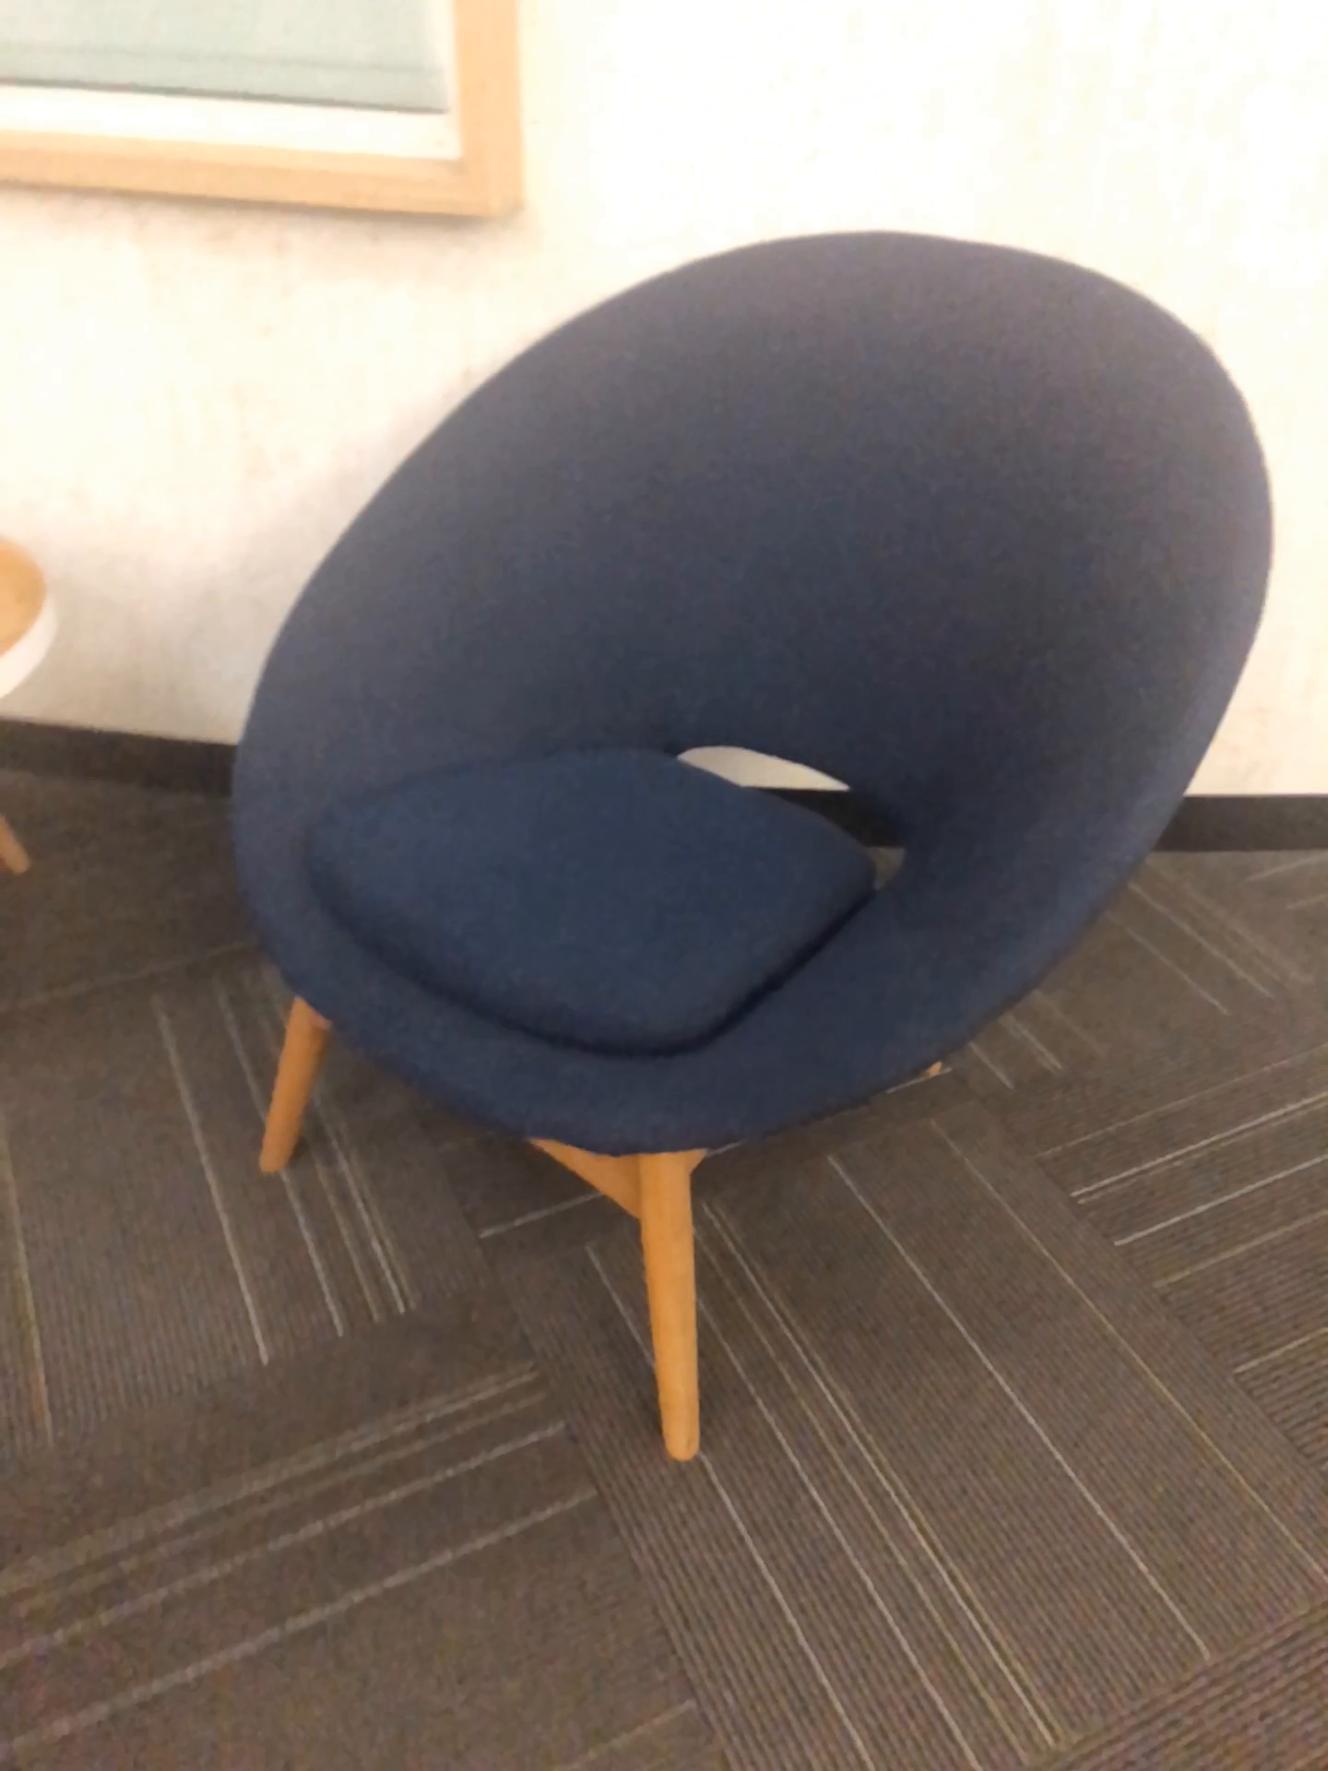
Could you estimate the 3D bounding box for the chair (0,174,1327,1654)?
[{"bbox_3d":[0.038,-0.137,1.541,0.892,0.992,1.006,29,37,33],"label":"chair"}]
